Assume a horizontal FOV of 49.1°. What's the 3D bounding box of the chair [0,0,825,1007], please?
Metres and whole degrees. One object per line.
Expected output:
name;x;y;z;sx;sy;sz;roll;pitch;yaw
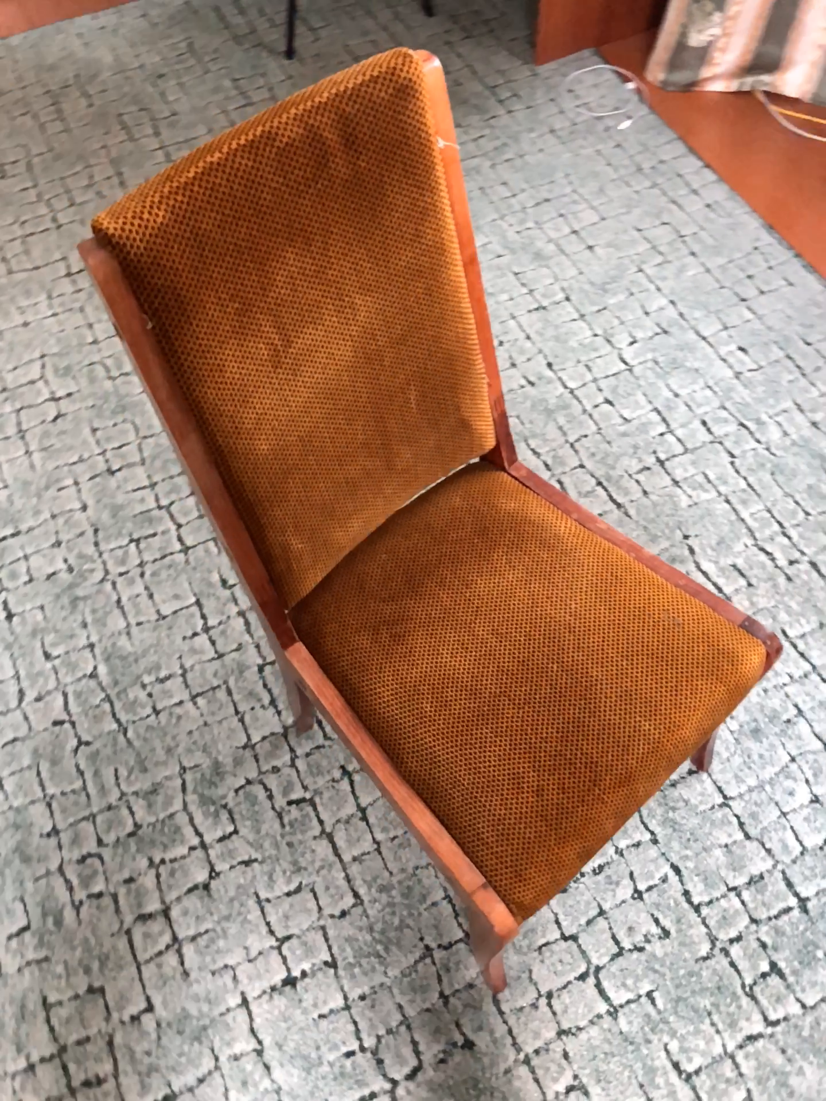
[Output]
chair;0.083;0.052;0.957;0.471;0.925;0.530;-39;65;-19
